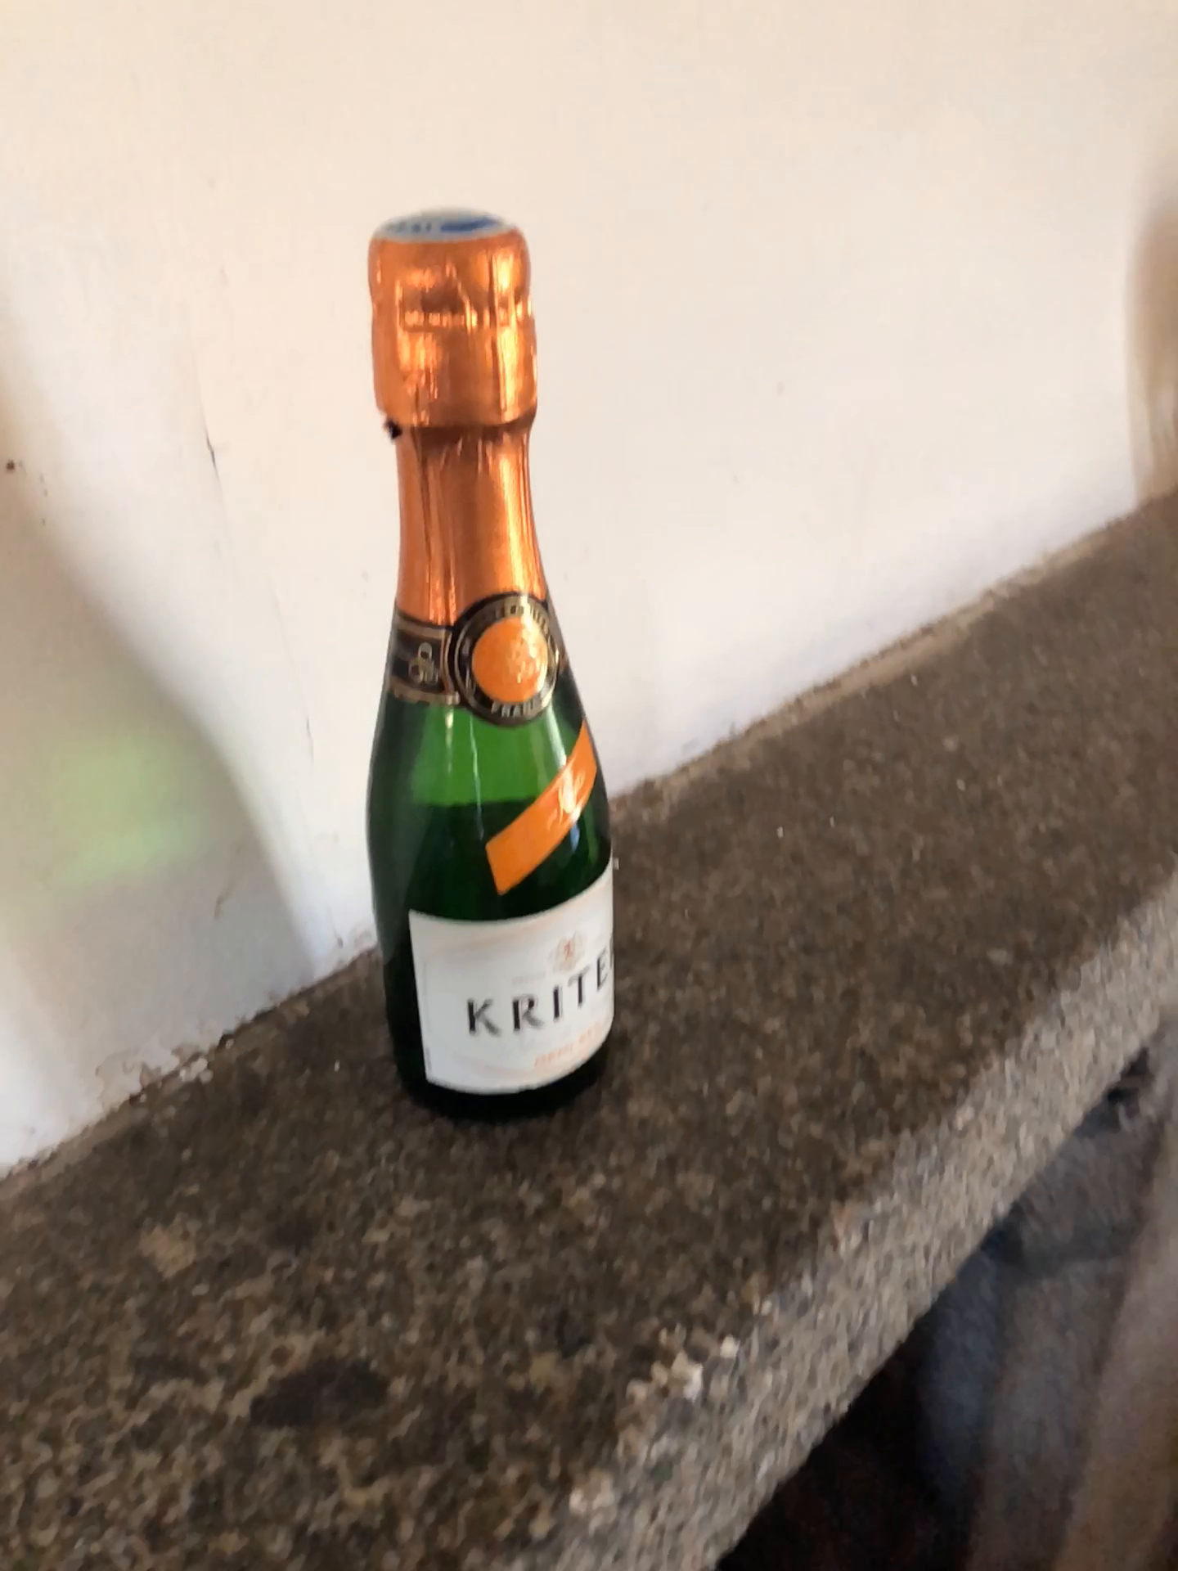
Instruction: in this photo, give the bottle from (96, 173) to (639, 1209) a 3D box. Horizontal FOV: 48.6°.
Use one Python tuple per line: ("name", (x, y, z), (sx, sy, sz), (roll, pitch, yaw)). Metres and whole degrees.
("bottle", (-0.038, -0.016, 0.277), (0.060, 0.199, 0.070), (-28, 39, -36))
